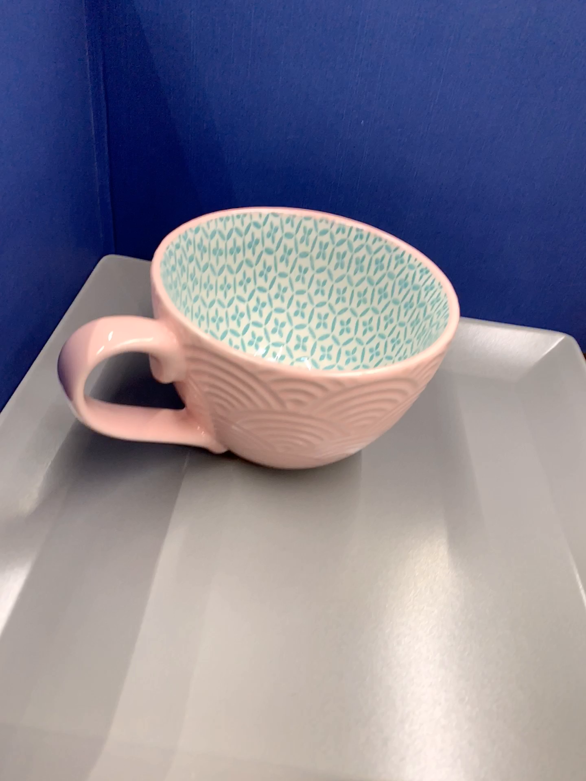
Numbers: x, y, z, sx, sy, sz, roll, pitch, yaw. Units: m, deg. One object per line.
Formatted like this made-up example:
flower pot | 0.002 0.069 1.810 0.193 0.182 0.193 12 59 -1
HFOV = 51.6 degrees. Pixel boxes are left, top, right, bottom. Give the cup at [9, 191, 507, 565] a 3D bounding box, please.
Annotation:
cup | -0.017 -0.017 0.240 0.150 0.064 0.105 -14 53 -27
